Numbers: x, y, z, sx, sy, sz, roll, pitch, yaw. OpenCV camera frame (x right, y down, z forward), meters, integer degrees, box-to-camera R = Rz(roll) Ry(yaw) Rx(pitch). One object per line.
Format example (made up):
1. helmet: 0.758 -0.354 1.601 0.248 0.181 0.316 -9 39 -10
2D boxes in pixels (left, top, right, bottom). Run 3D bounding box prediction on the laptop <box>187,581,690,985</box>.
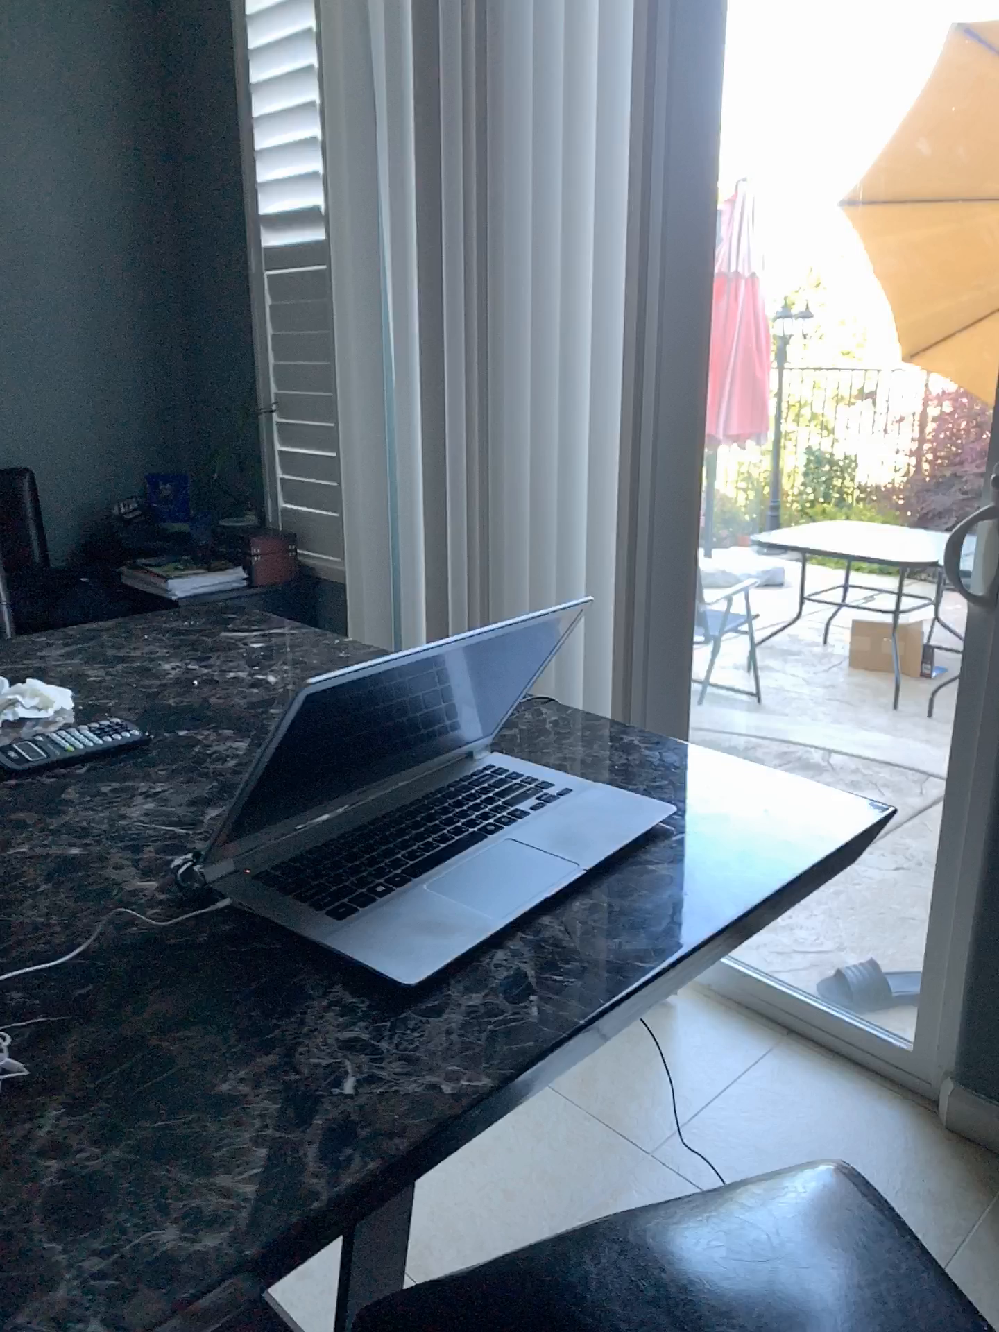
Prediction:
1. laptop: -0.035 0.065 0.876 0.234 0.188 0.362 13 21 37
